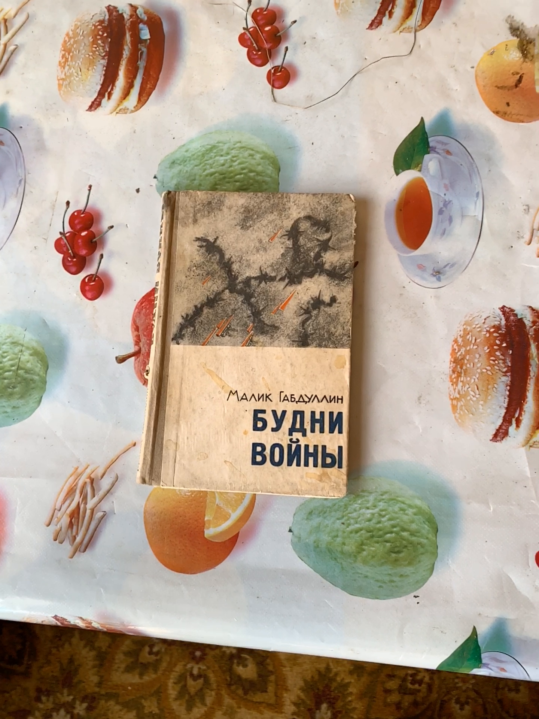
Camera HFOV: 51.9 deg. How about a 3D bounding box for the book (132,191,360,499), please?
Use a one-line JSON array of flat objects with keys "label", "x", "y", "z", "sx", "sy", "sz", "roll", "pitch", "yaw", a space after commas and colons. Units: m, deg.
[{"label": "book", "x": -0.012, "y": -0.014, "z": 0.365, "sx": 0.136, "sy": 0.019, "sz": 0.196, "roll": 2, "pitch": 80, "yaw": 4}]
